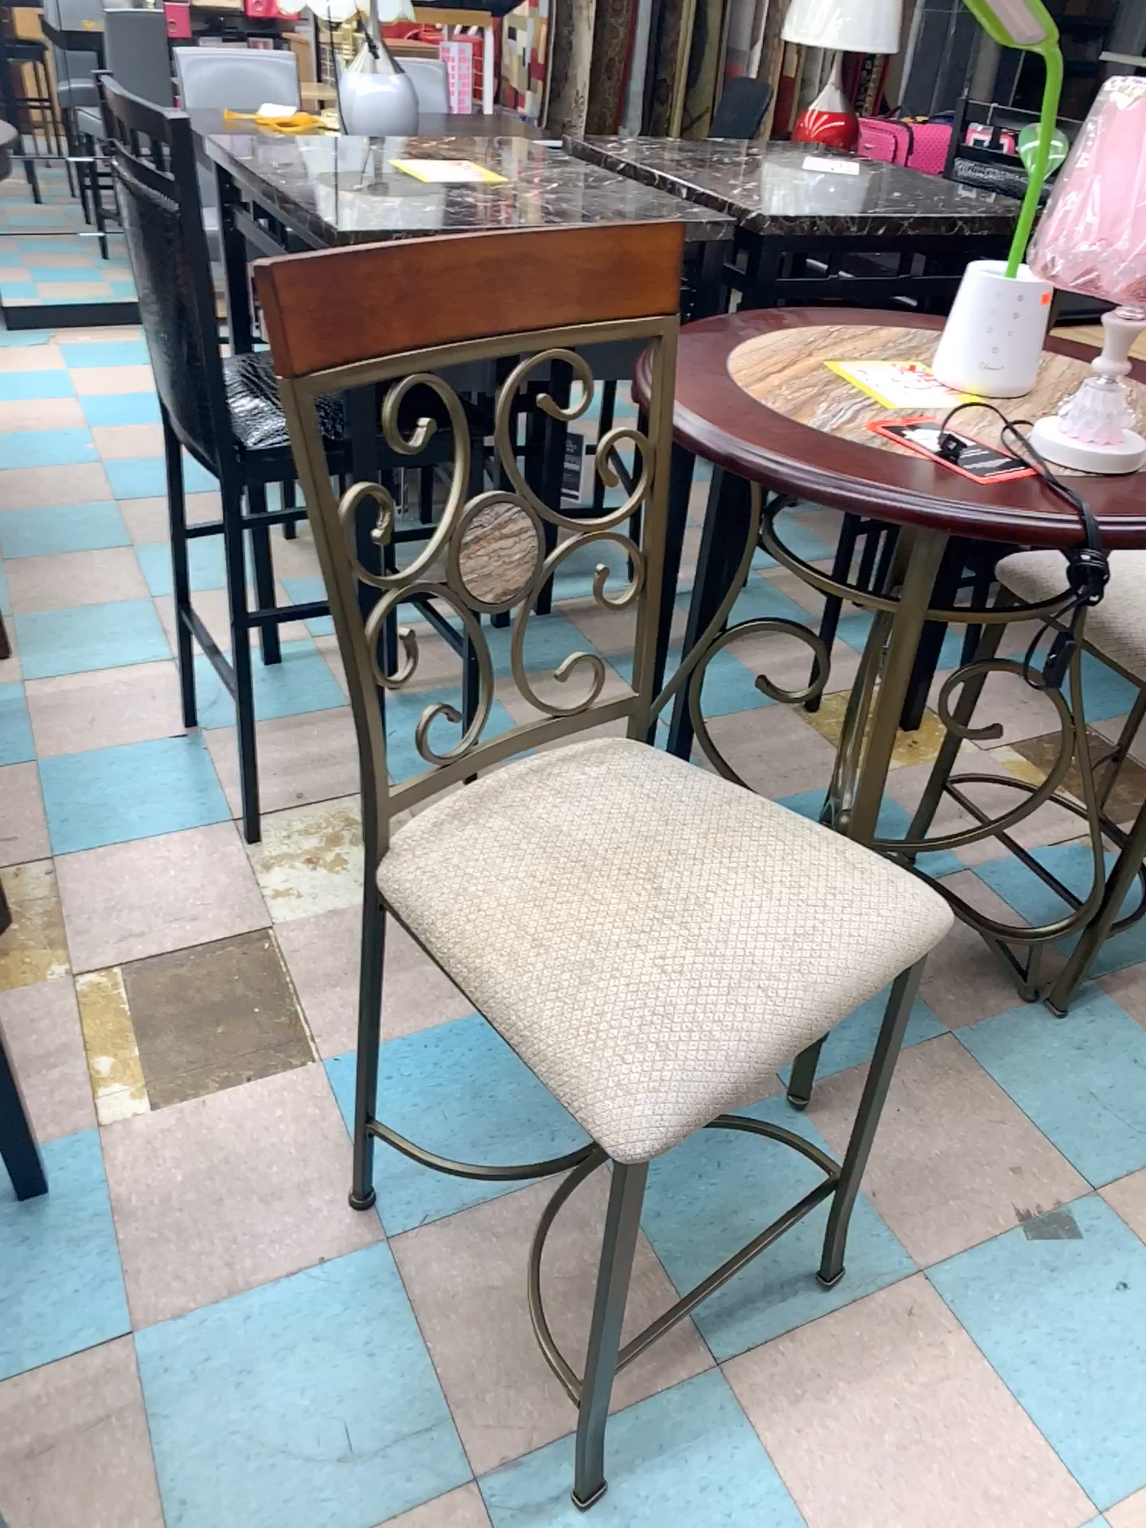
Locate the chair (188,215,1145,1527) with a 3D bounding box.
[{"bbox_3d":[0.049,0.112,1.146,0.511,1.074,0.561,-22,43,-34],"label":"chair"}]
